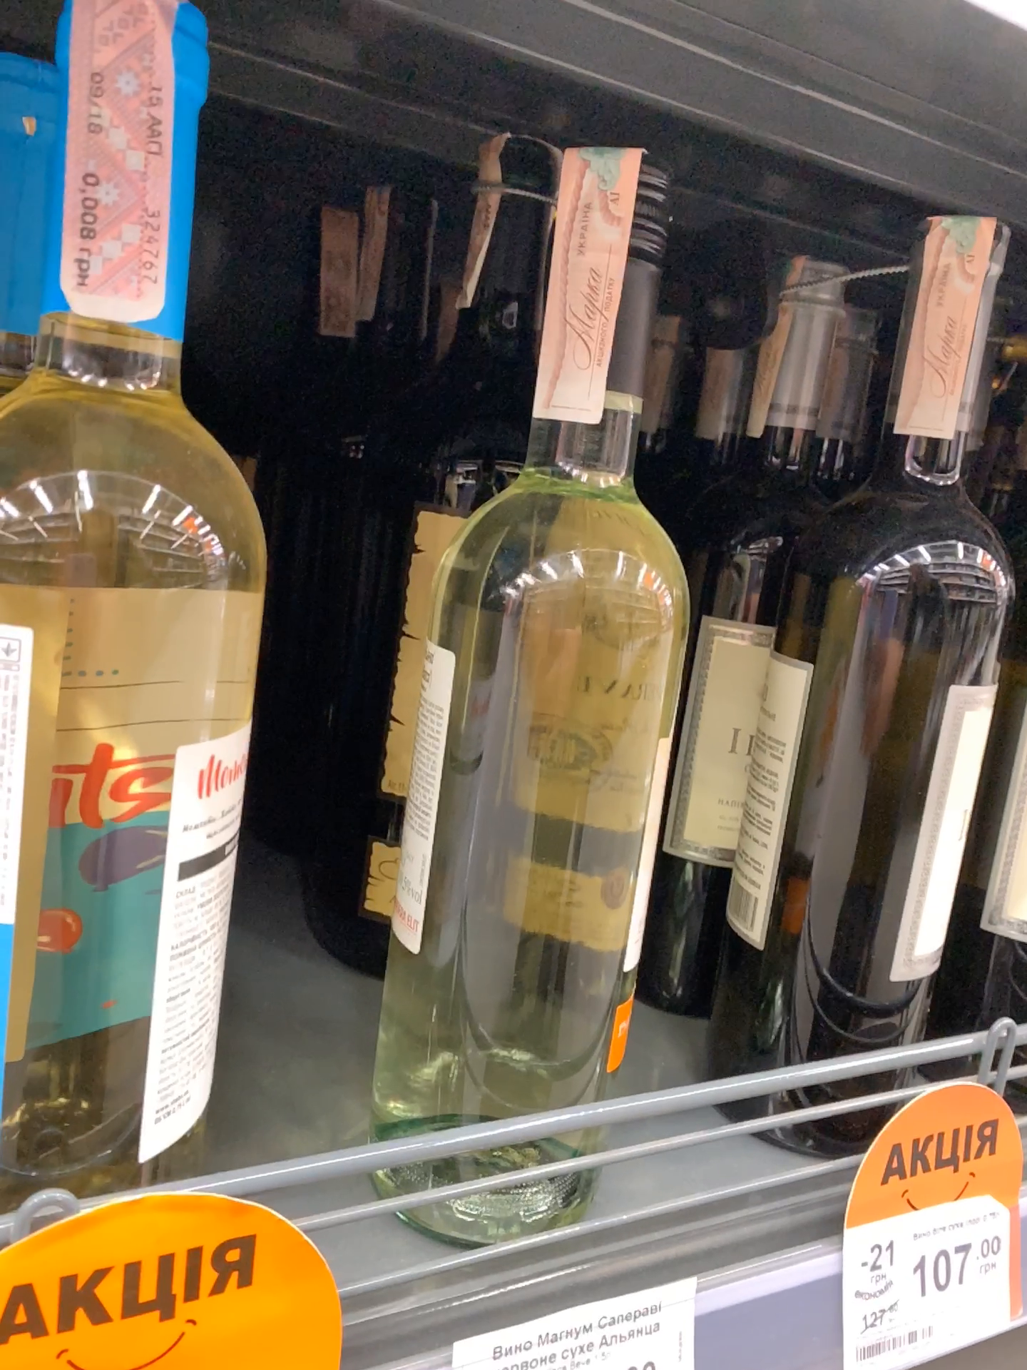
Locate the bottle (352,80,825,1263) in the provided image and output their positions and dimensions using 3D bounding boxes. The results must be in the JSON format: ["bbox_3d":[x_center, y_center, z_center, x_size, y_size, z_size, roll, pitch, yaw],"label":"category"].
[{"bbox_3d":[0.008,0.008,0.298,0.070,0.294,0.070,9,12,-2],"label":"bottle"}]
